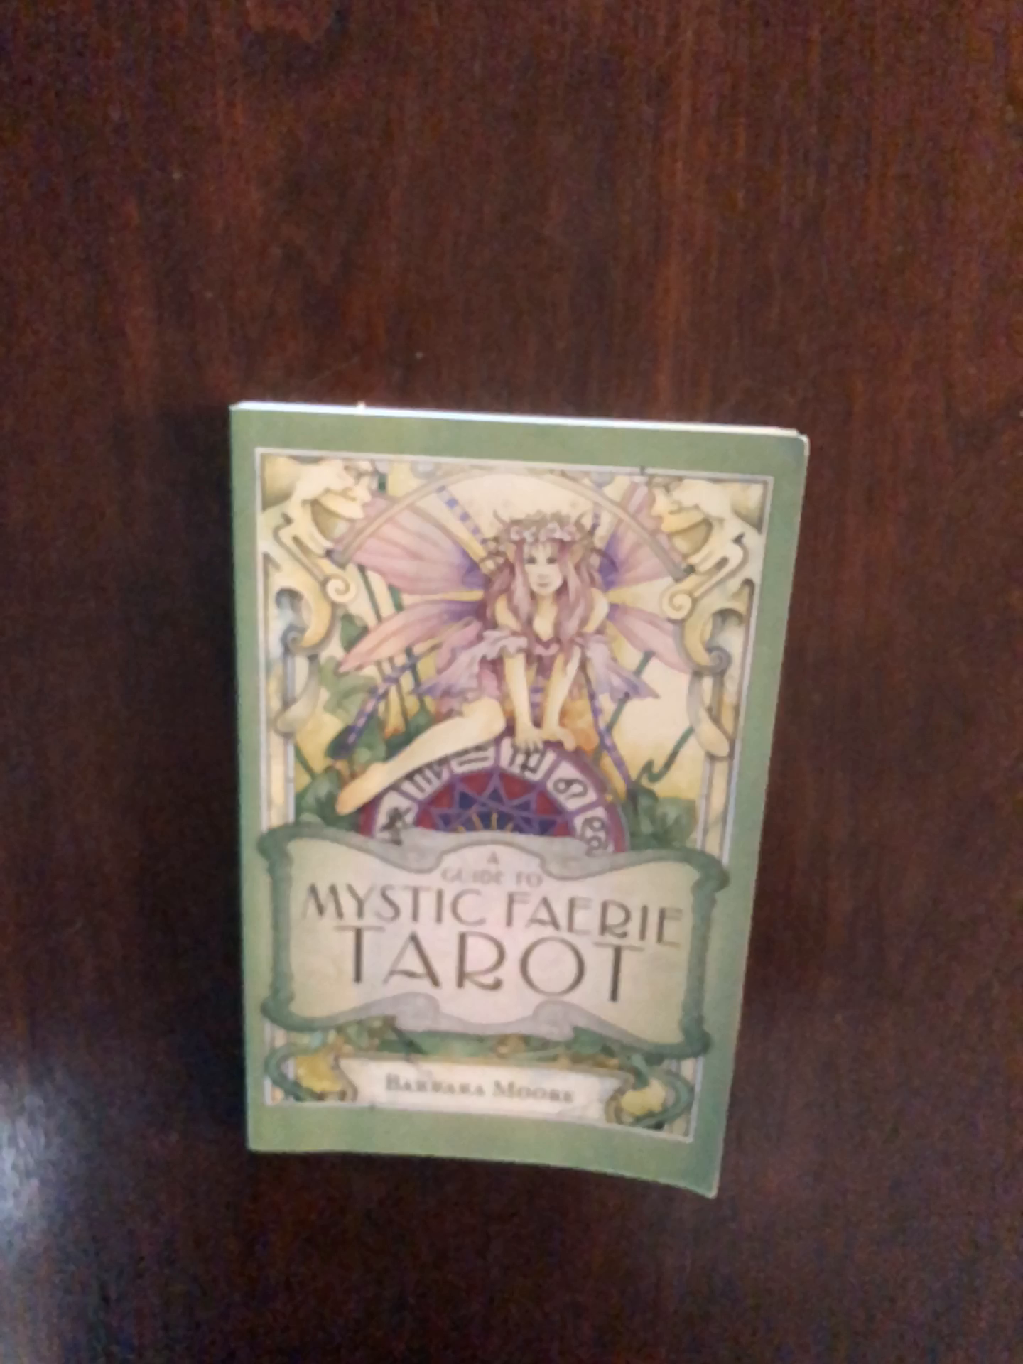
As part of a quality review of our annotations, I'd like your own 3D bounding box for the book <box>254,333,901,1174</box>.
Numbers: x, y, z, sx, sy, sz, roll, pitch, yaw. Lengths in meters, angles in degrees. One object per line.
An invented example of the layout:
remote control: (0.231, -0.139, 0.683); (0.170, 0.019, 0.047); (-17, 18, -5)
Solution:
book: (0.008, 0.025, 0.294); (0.139, 0.032, 0.209); (4, 108, -1)
